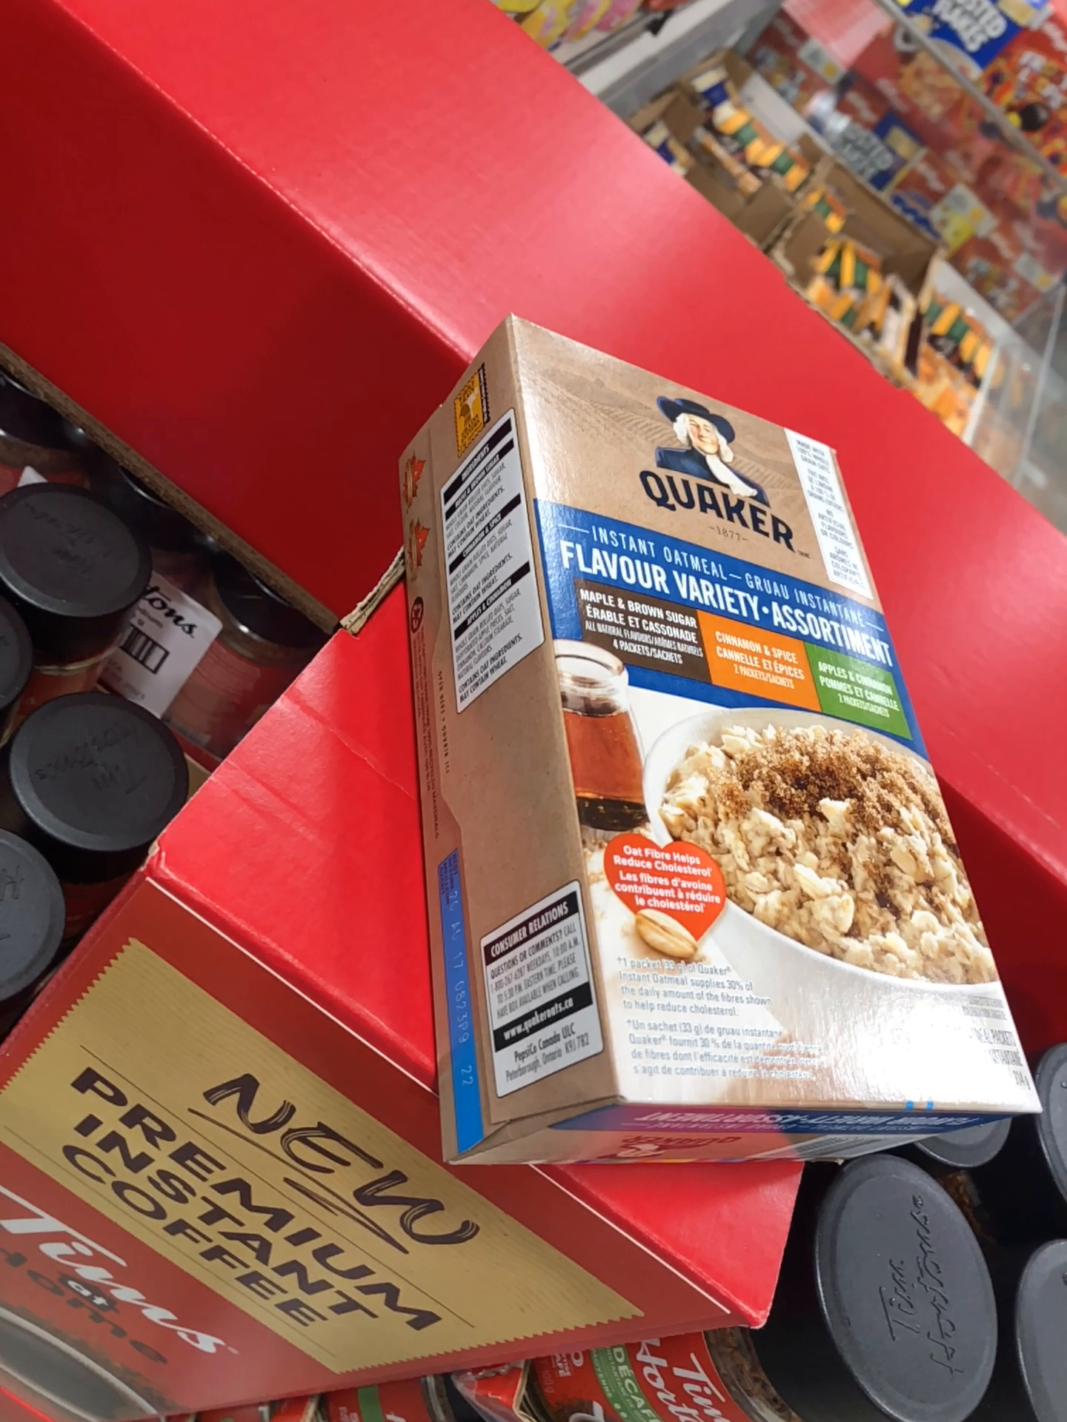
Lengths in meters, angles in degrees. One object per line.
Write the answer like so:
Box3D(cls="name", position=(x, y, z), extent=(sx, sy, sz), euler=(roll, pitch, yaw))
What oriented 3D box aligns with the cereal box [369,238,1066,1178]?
Box3D(cls="cereal box", position=(0.039, 0.003, 0.307), extent=(0.141, 0.070, 0.210), euler=(13, 56, -31))
